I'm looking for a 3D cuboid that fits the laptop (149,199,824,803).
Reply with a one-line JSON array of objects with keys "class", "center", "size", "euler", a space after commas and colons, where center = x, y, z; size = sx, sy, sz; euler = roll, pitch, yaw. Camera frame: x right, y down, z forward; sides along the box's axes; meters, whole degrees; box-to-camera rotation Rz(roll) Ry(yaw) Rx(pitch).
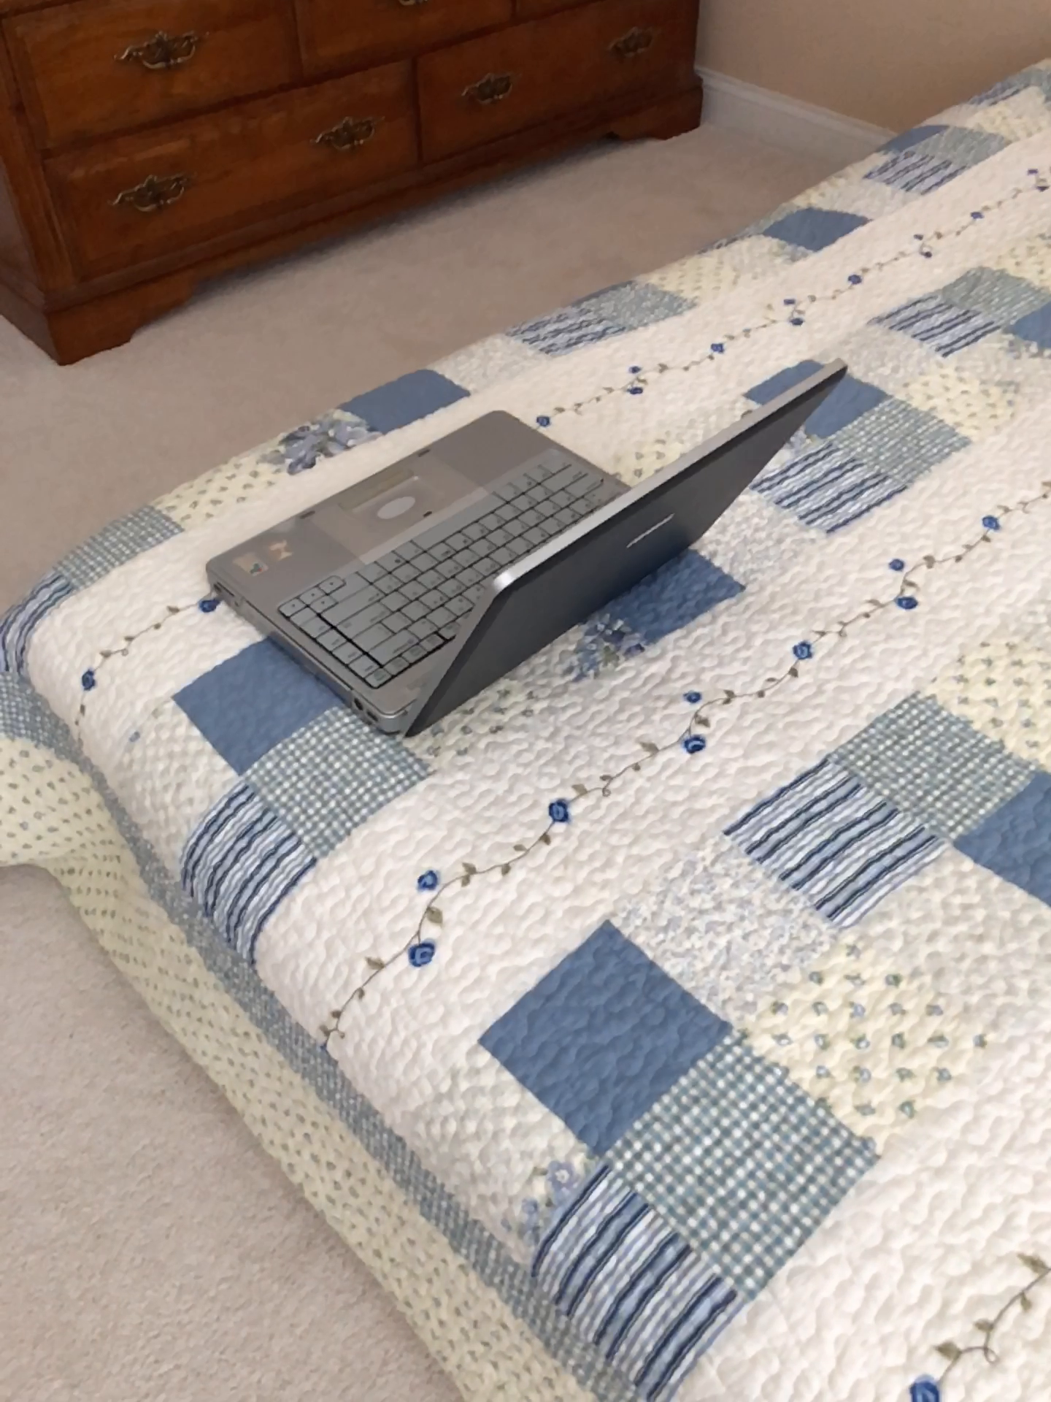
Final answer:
[{"class": "laptop", "center": [-0.025, -0.170, 0.855], "size": [0.323, 0.193, 0.327], "euler": [-35, 57, -30]}]
